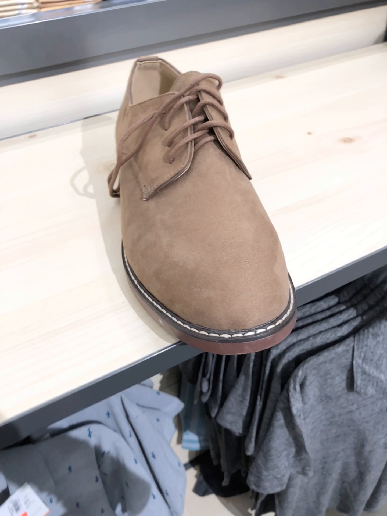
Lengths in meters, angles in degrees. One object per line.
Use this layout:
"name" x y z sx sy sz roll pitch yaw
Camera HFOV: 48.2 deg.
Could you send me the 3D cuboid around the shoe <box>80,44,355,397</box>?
"shoe" -0.013 -0.064 0.343 0.120 0.110 0.301 -11 41 -8
